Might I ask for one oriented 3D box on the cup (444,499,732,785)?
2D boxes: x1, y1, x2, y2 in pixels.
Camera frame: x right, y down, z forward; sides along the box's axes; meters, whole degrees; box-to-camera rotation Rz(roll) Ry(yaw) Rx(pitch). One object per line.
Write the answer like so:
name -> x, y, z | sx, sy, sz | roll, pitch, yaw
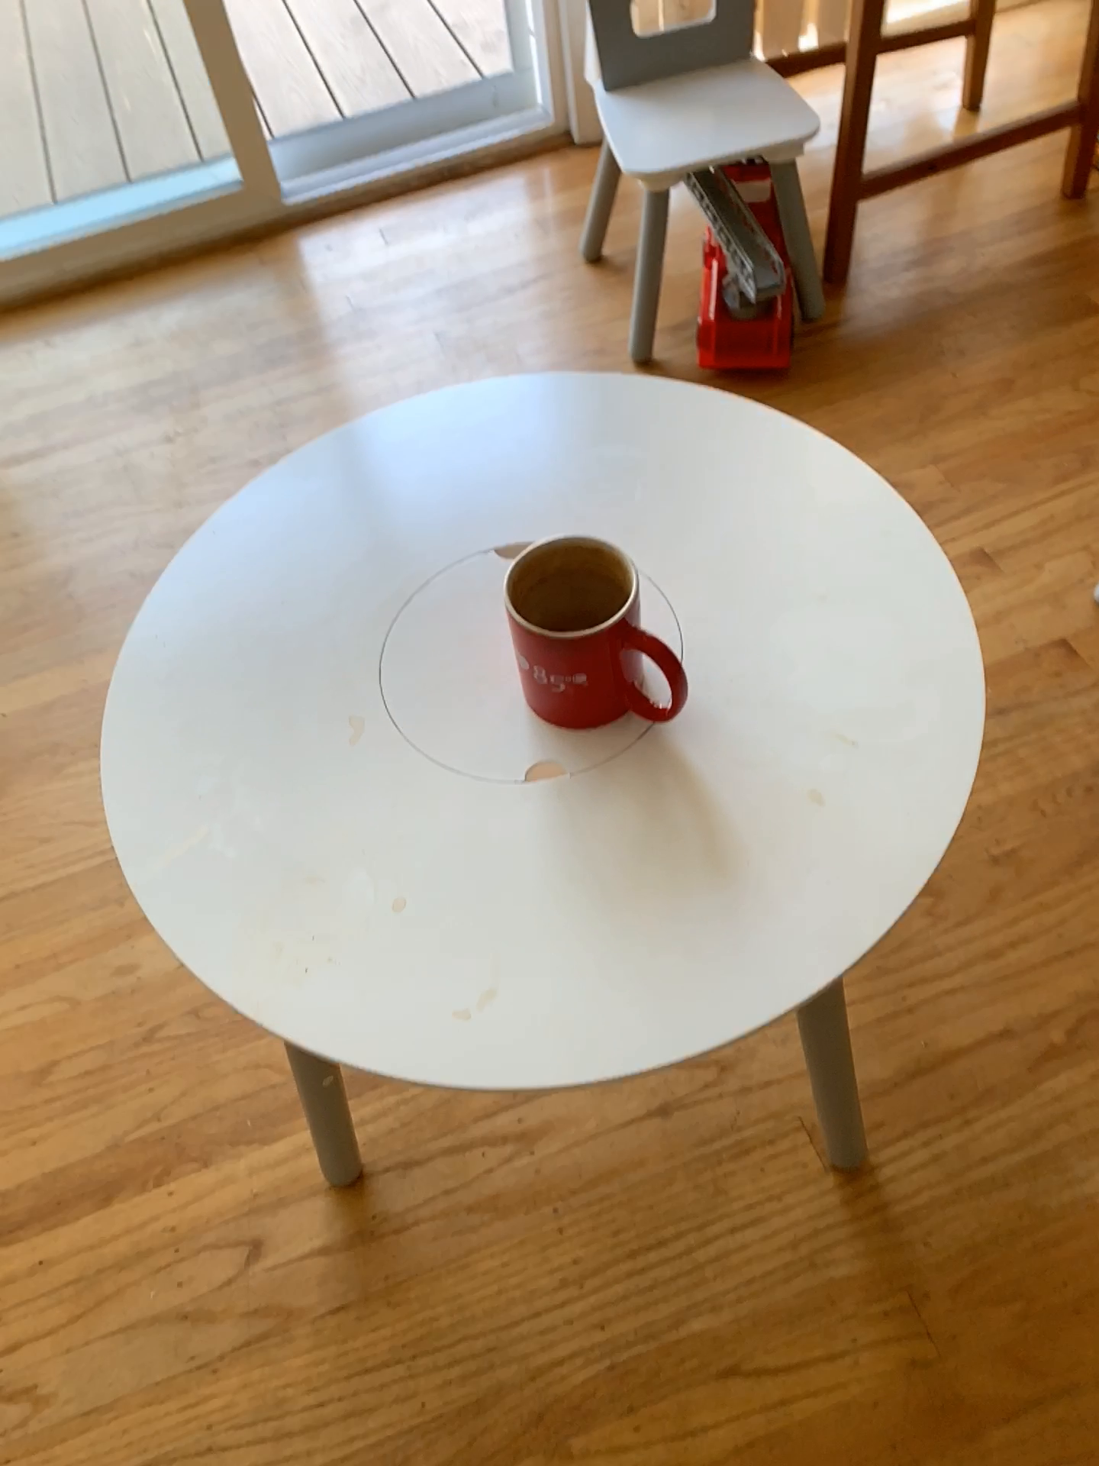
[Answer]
cup -> 0.027, -0.059, 0.722 | 0.150, 0.100, 0.090 | 28, 63, 24
